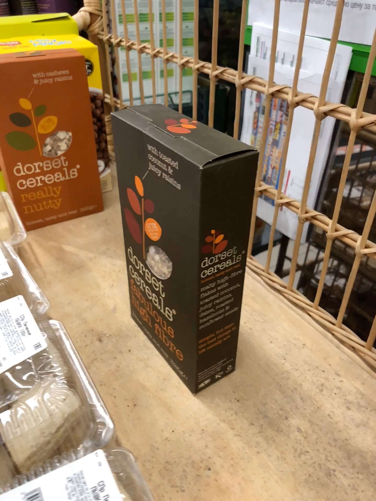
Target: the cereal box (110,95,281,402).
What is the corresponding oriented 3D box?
[{"bbox_3d":[-0.004,-0.001,0.340,0.050,0.209,0.131,-20,40,-28],"label":"cereal box"}]
